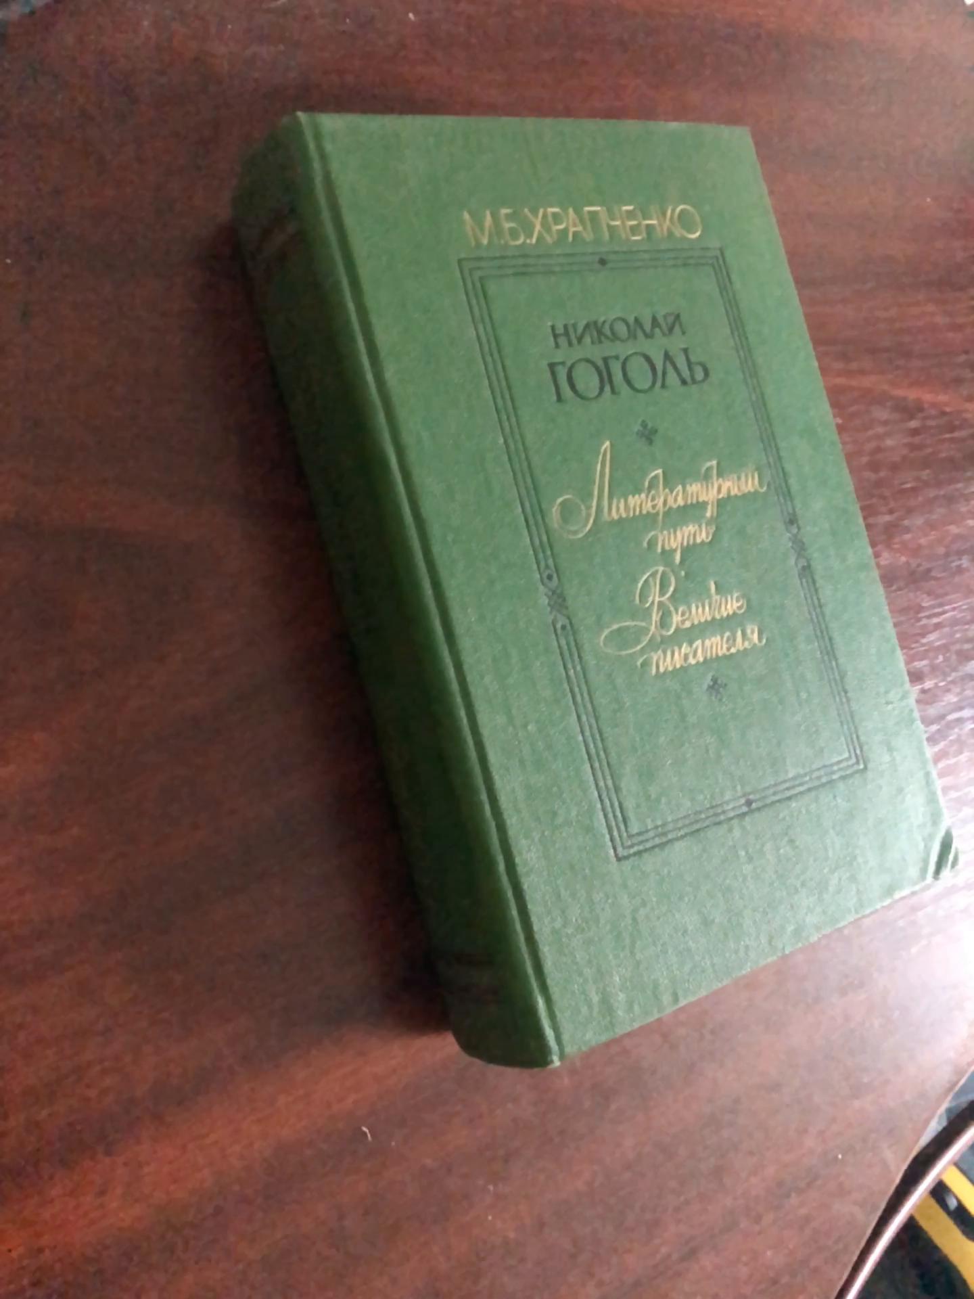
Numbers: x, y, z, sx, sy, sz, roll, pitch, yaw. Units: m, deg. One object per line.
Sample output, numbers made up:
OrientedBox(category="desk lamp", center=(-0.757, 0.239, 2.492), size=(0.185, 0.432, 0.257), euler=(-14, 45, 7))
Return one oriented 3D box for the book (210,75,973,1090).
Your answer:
OrientedBox(category="book", center=(0.028, -0.025, 0.264), size=(0.130, 0.050, 0.206), euler=(-14, 88, -29))
